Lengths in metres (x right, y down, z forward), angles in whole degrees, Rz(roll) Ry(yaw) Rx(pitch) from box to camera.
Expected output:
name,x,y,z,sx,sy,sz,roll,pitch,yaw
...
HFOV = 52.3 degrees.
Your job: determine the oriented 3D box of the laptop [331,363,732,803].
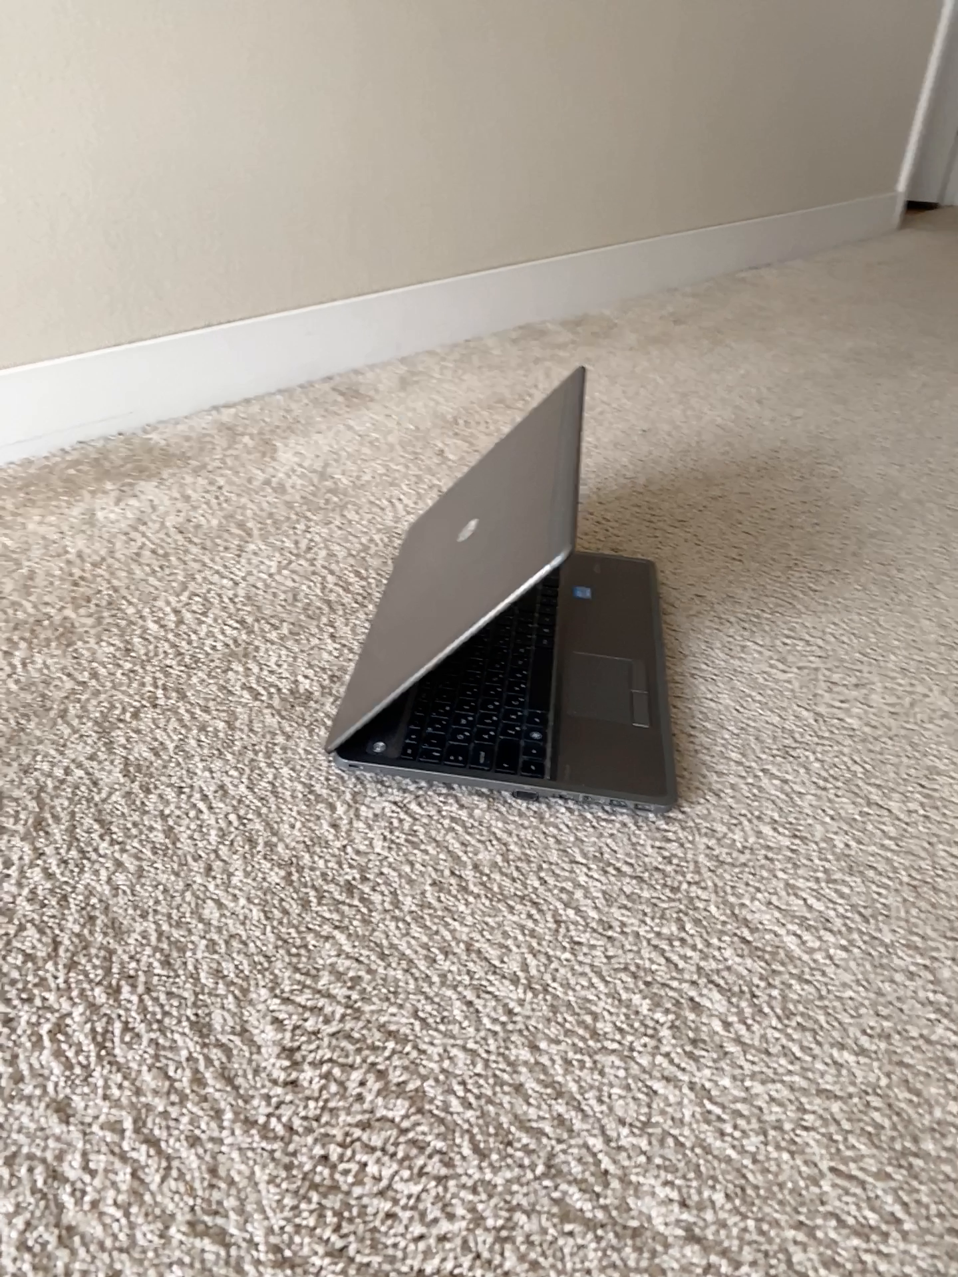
name,x,y,z,sx,sy,sz,roll,pitch,yaw
laptop,0.043,-0.072,0.818,0.253,0.186,0.370,6,32,3
